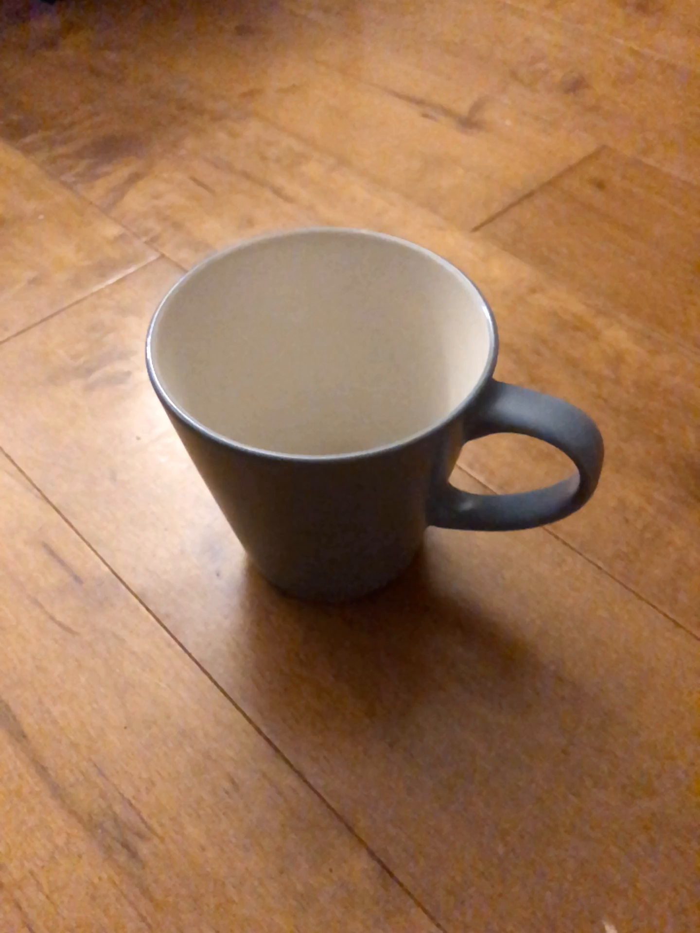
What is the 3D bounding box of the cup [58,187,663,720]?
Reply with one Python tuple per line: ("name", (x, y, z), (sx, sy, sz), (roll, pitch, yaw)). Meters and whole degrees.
("cup", (0.009, -0.007, 0.252), (0.140, 0.099, 0.100), (15, 52, 14))
